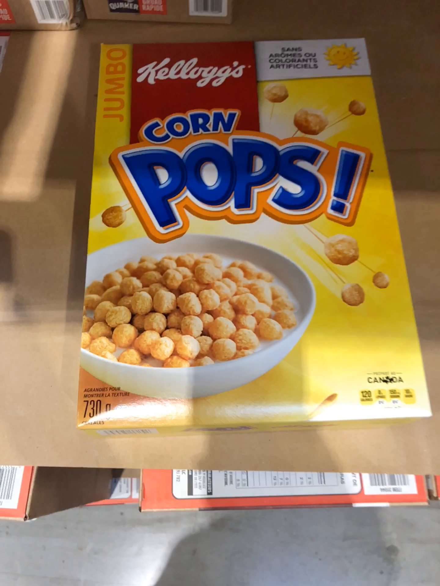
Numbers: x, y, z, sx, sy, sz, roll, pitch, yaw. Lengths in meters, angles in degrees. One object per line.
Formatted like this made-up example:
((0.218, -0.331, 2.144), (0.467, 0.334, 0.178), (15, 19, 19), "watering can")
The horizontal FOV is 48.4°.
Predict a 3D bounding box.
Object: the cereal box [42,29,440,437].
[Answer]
((0.016, -0.059, 0.425), (0.270, 0.100, 0.340), (-1, 69, -1), "cereal box")
